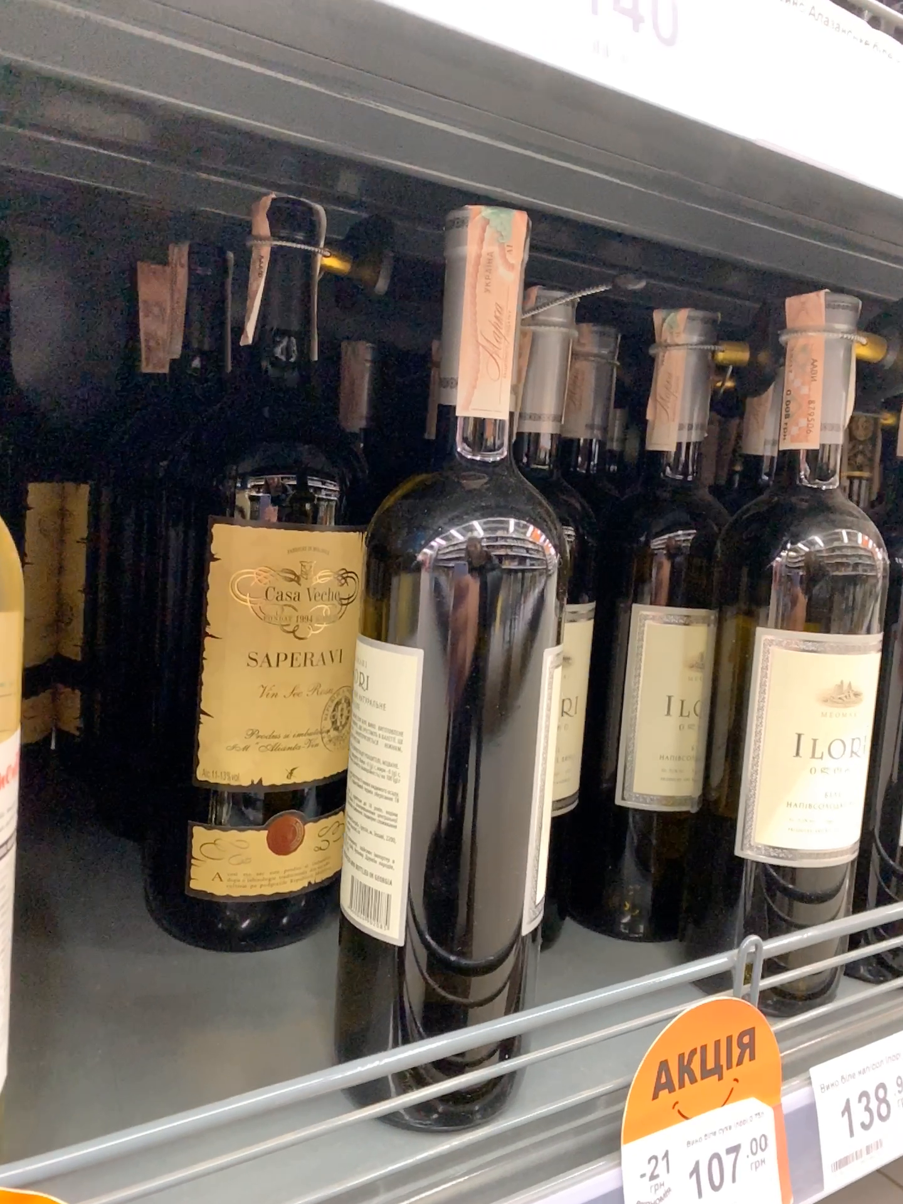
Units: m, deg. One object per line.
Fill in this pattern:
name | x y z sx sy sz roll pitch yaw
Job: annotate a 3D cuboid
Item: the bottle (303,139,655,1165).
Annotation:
bottle | 0.003 0.021 0.331 0.069 0.319 0.070 5 8 -1
